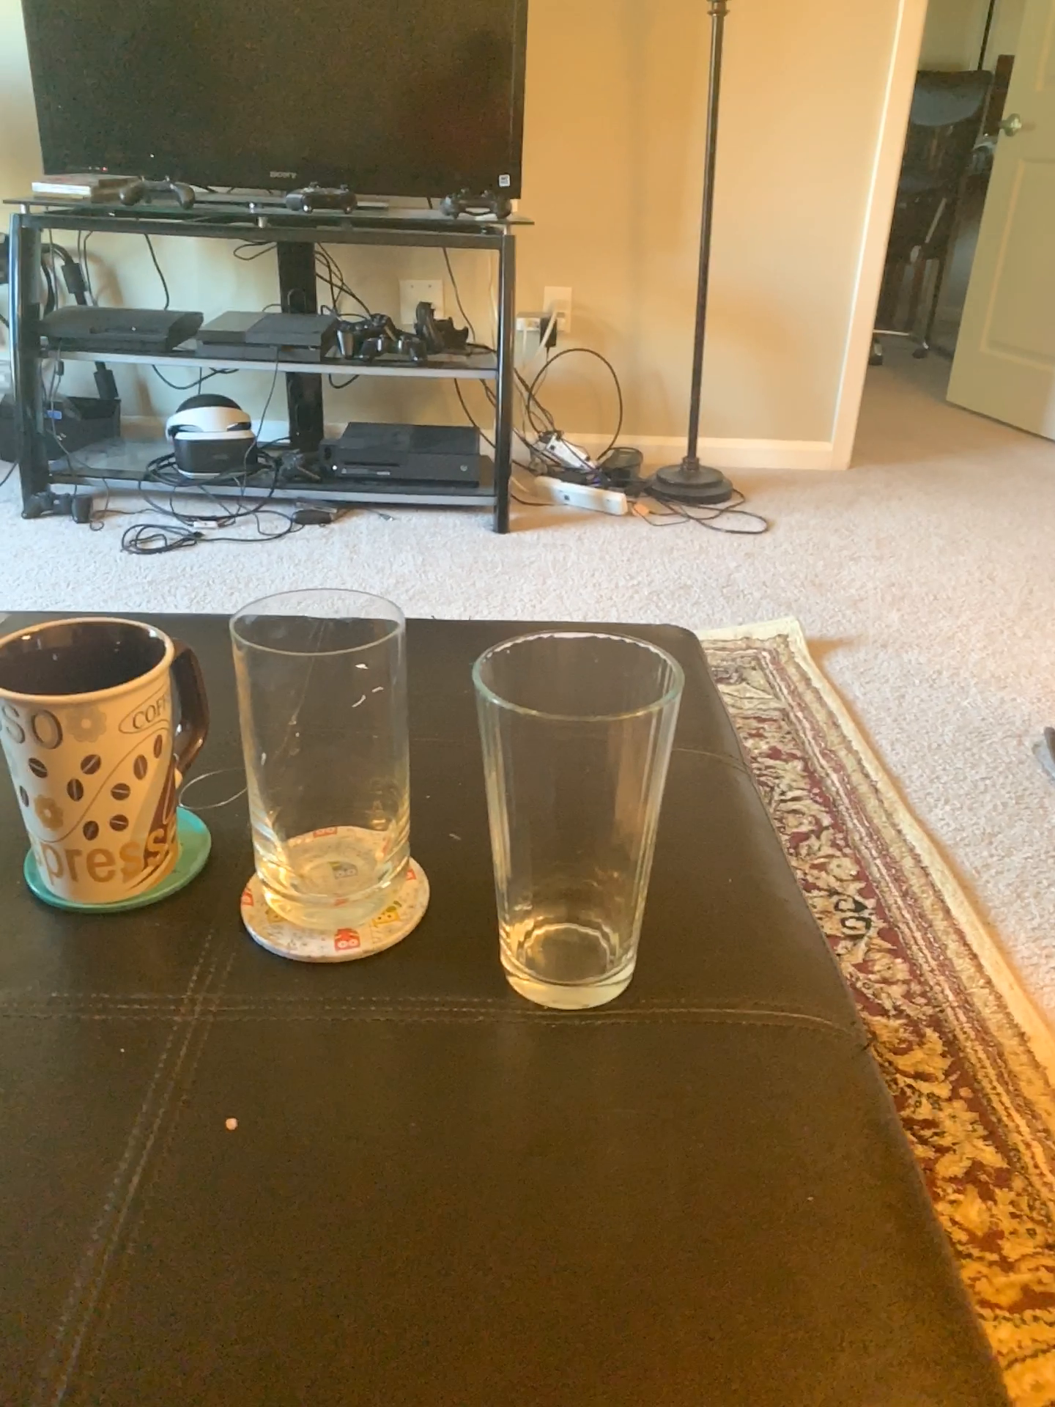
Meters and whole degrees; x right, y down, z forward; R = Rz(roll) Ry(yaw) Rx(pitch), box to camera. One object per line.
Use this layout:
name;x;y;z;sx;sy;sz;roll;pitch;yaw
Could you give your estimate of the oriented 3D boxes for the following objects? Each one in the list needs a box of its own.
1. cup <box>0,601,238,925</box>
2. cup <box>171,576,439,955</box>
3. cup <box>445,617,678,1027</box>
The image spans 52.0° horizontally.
cup;-0.201;0.023;0.494;0.090;0.099;0.090;2;27;-1
cup;-0.090;0.024;0.468;0.080;0.129;0.080;2;27;-1
cup;0.014;0.048;0.451;0.080;0.139;0.080;2;27;-1
